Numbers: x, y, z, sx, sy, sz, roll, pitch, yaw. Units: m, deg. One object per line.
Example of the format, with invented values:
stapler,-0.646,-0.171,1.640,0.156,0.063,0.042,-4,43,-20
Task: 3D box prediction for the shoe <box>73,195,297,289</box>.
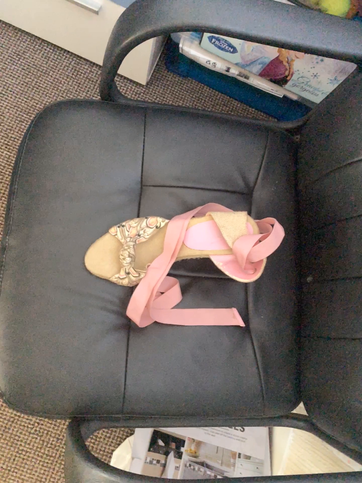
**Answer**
shoe,-0.002,0.005,0.518,0.270,0.140,0.100,-3,82,-11
